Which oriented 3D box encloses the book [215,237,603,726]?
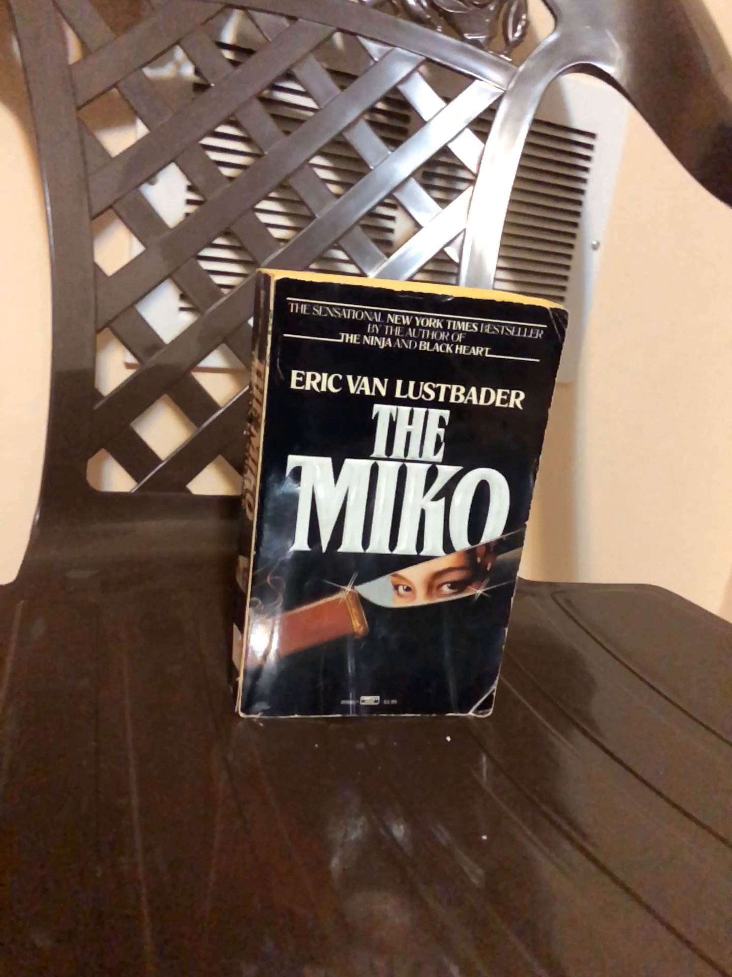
[{"bbox_3d":[0.011,0.002,0.308,0.120,0.170,0.040,4,13,-15],"label":"book"}]
